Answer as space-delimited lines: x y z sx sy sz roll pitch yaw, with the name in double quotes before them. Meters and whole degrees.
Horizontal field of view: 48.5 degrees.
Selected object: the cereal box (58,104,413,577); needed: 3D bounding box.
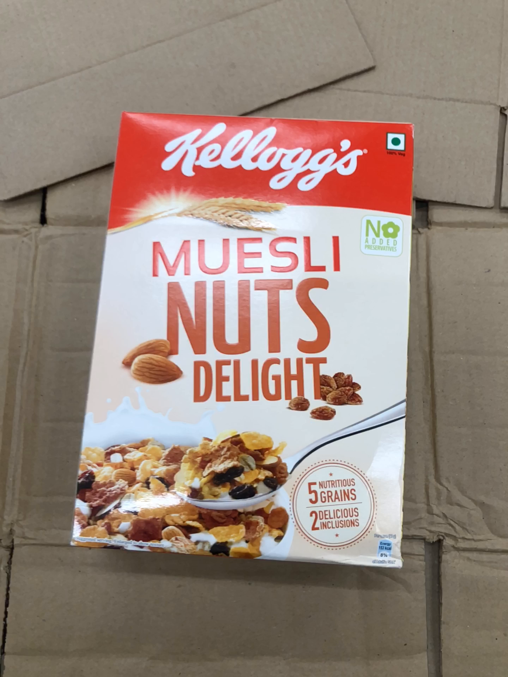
"cereal box" -0.003 -0.004 0.352 0.180 0.070 0.260 4 79 3
